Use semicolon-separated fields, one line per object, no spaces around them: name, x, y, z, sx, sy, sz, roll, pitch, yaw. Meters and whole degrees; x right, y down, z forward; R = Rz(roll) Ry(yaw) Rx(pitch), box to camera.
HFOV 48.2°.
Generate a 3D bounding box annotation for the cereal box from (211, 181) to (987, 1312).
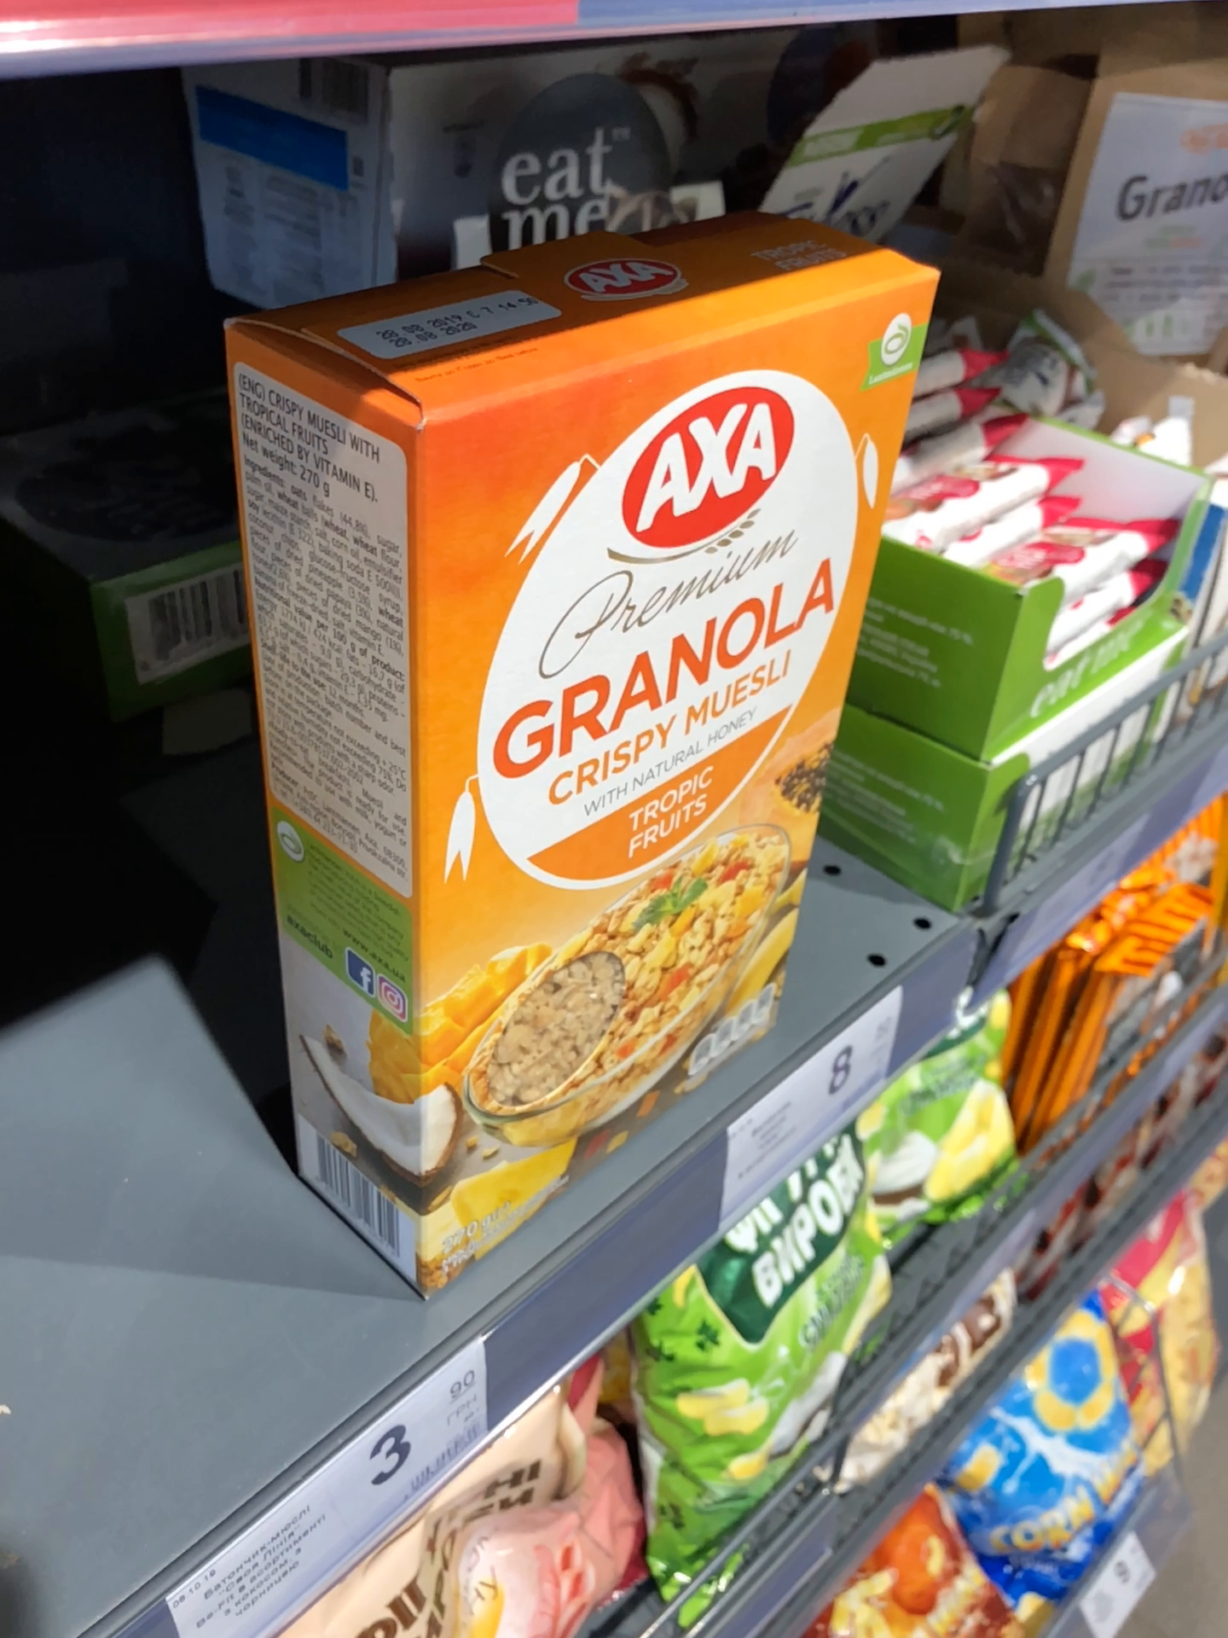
cereal box;-0.004;-0.013;0.297;0.050;0.208;0.141;33;44;30
